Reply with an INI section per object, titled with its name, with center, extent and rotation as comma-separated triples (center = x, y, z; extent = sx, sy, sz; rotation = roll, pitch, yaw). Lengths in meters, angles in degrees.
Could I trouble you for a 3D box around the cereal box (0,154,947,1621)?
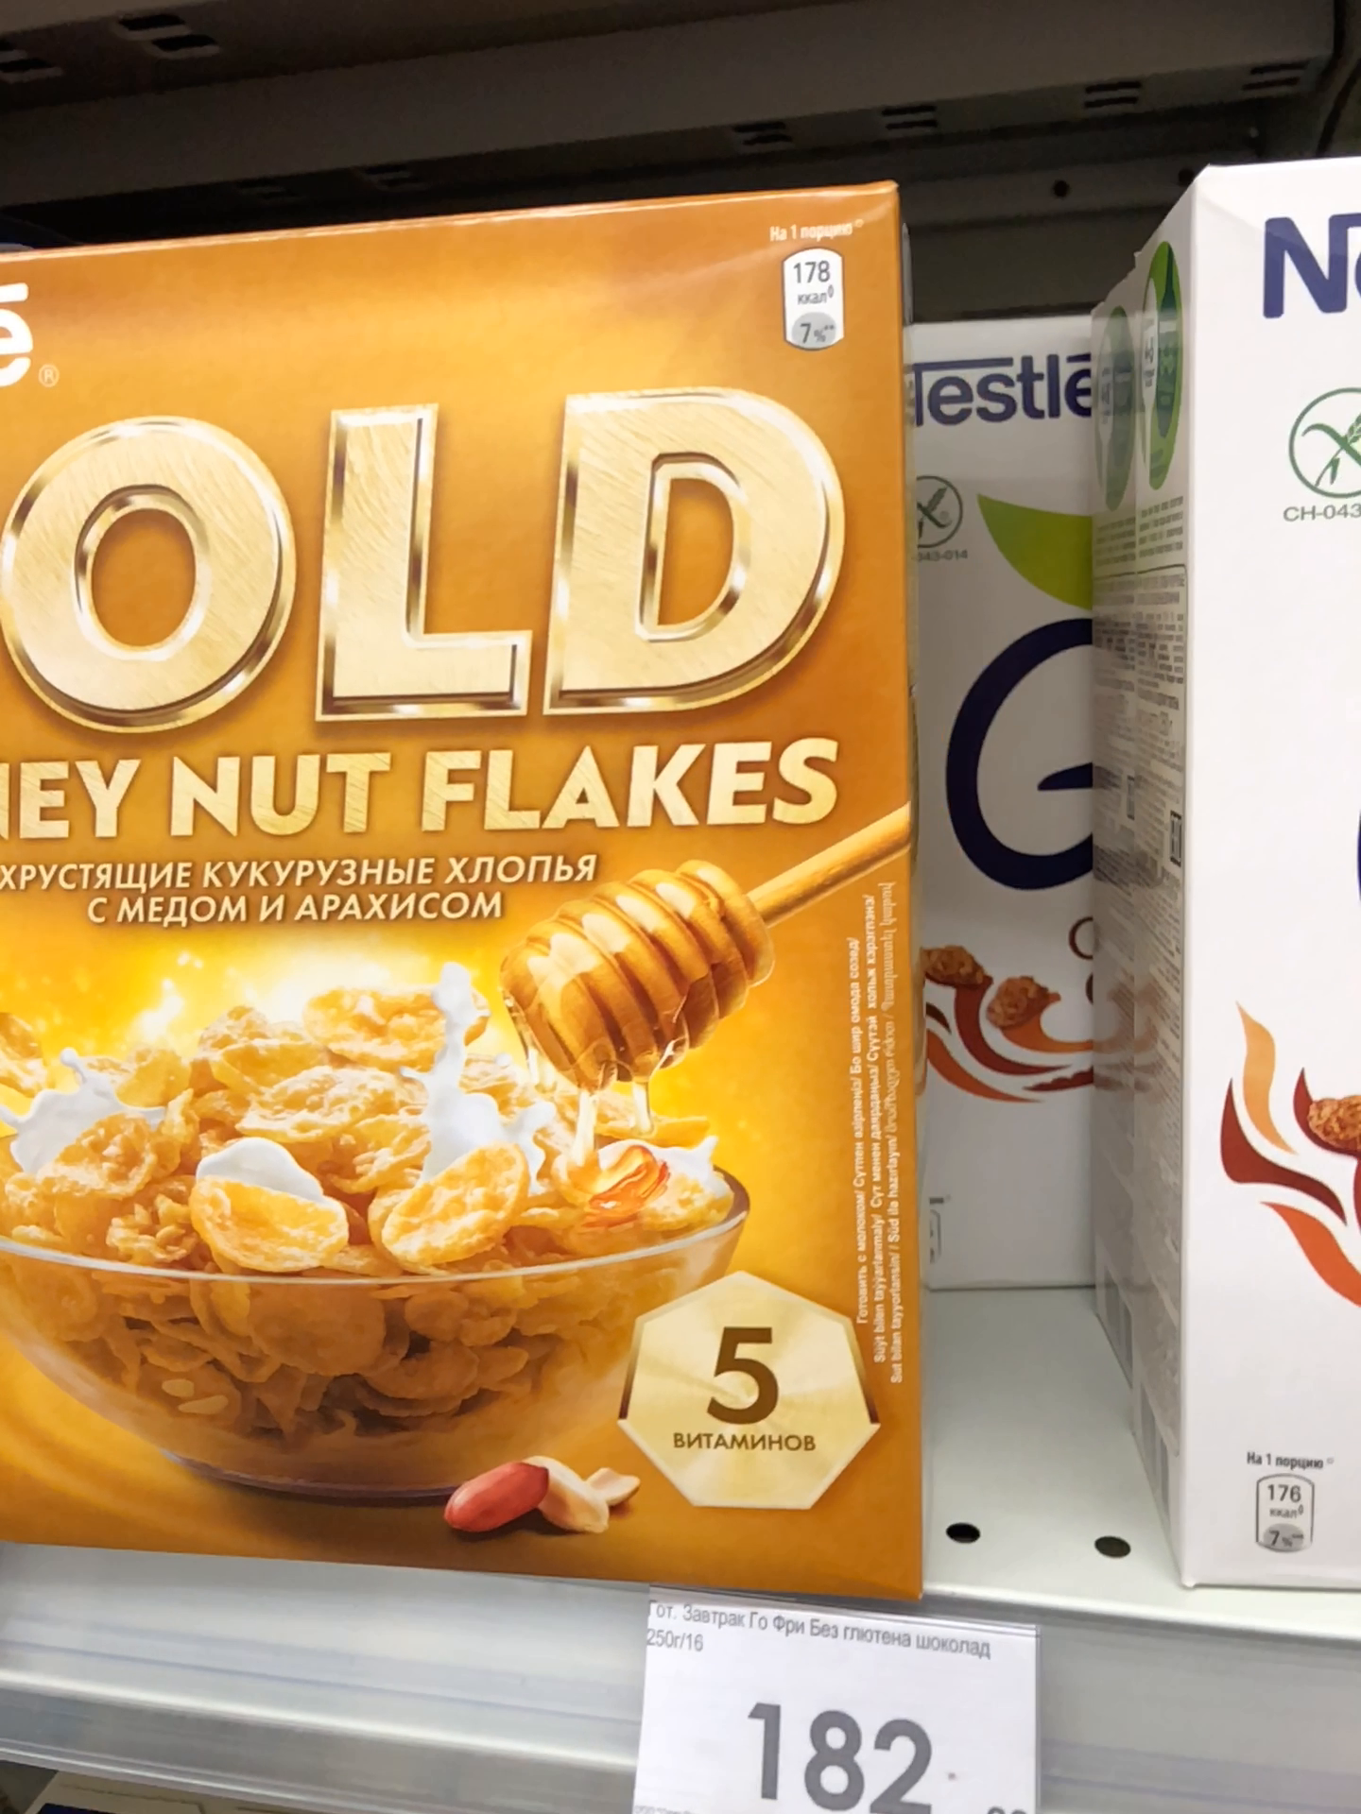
[cereal box]
center = -0.051, 0.002, 0.264
extent = 0.190, 0.219, 0.050
rotation = -1, 9, 10
